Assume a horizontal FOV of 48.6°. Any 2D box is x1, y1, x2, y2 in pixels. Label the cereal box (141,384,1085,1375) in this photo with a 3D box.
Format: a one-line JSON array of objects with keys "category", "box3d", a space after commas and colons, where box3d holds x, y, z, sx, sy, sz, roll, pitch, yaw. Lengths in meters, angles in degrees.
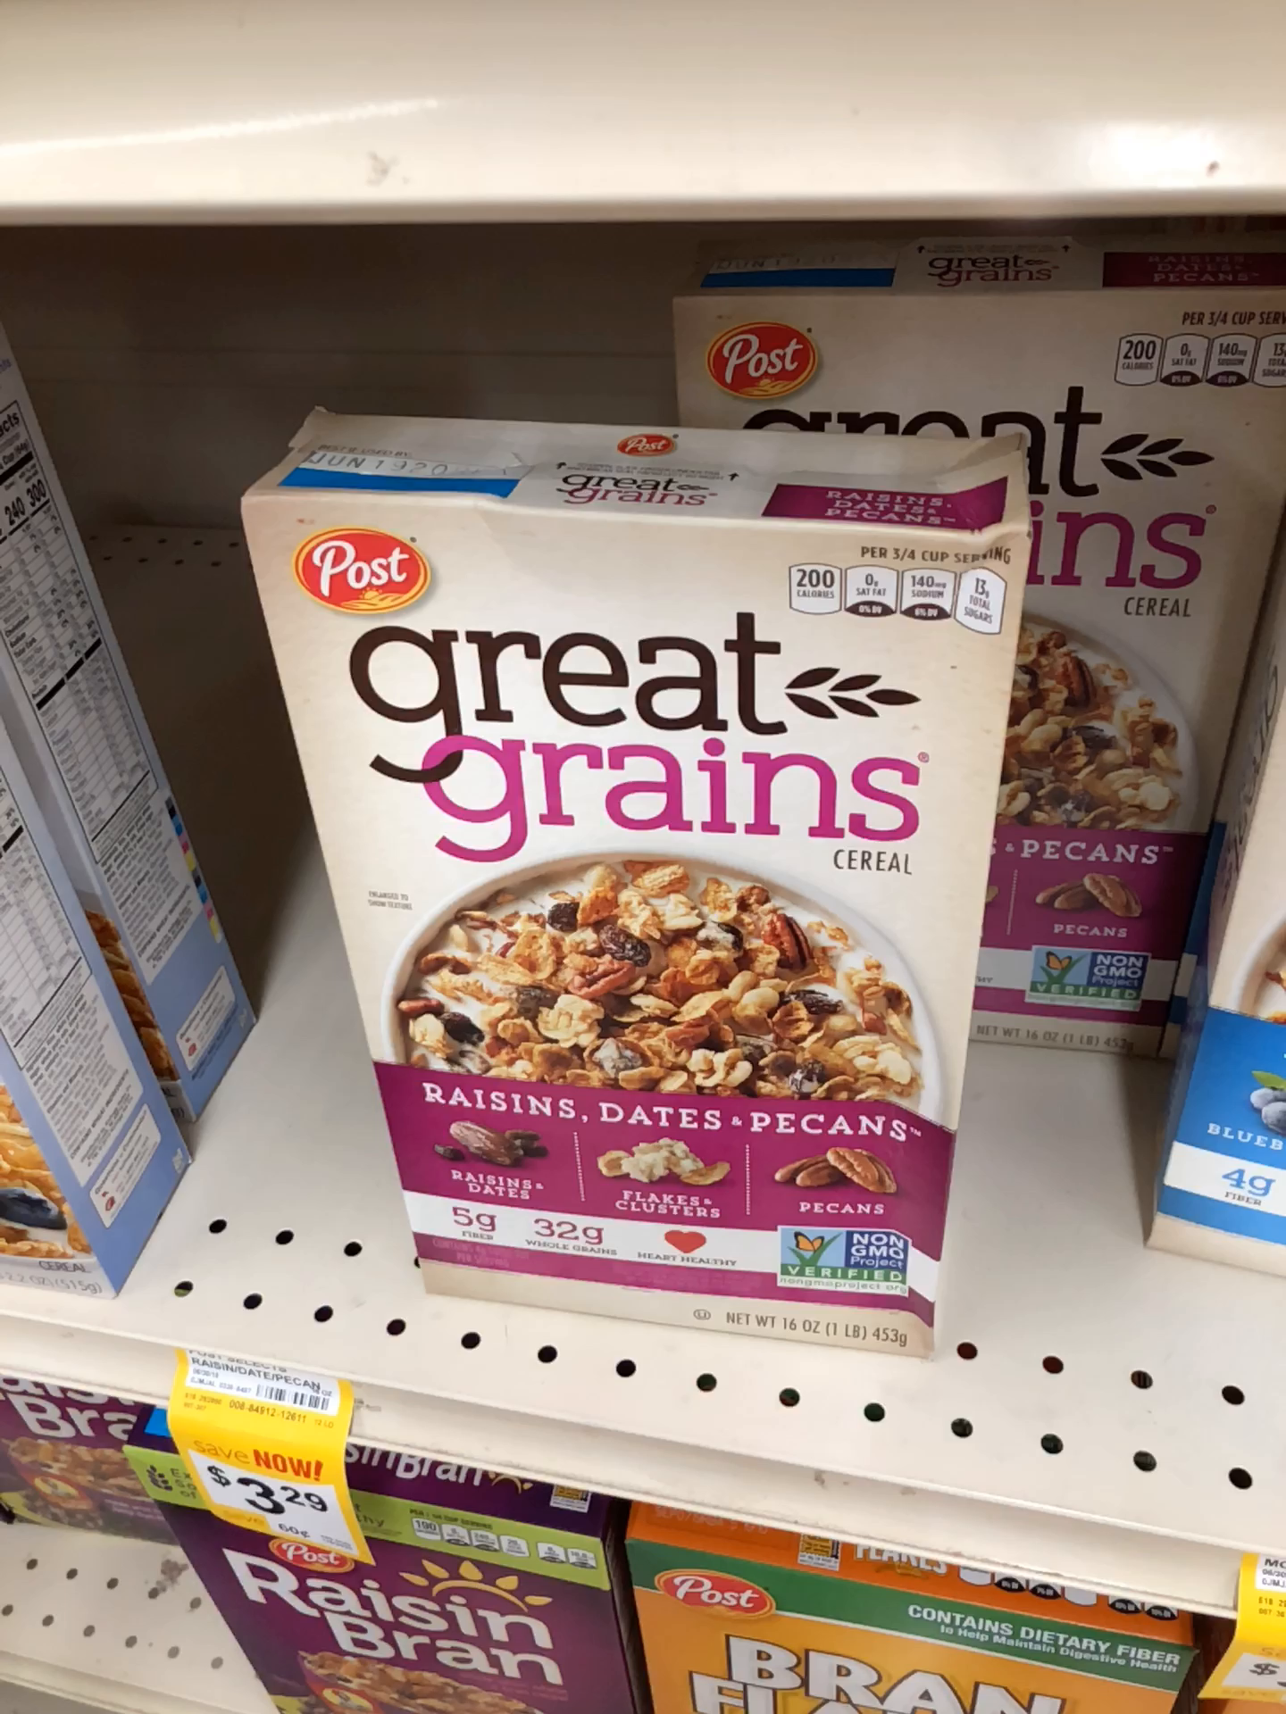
[{"category": "cereal box", "box3d": [0.003, 0.024, 0.356, 0.170, 0.269, 0.050, 4, 41, 10]}]
